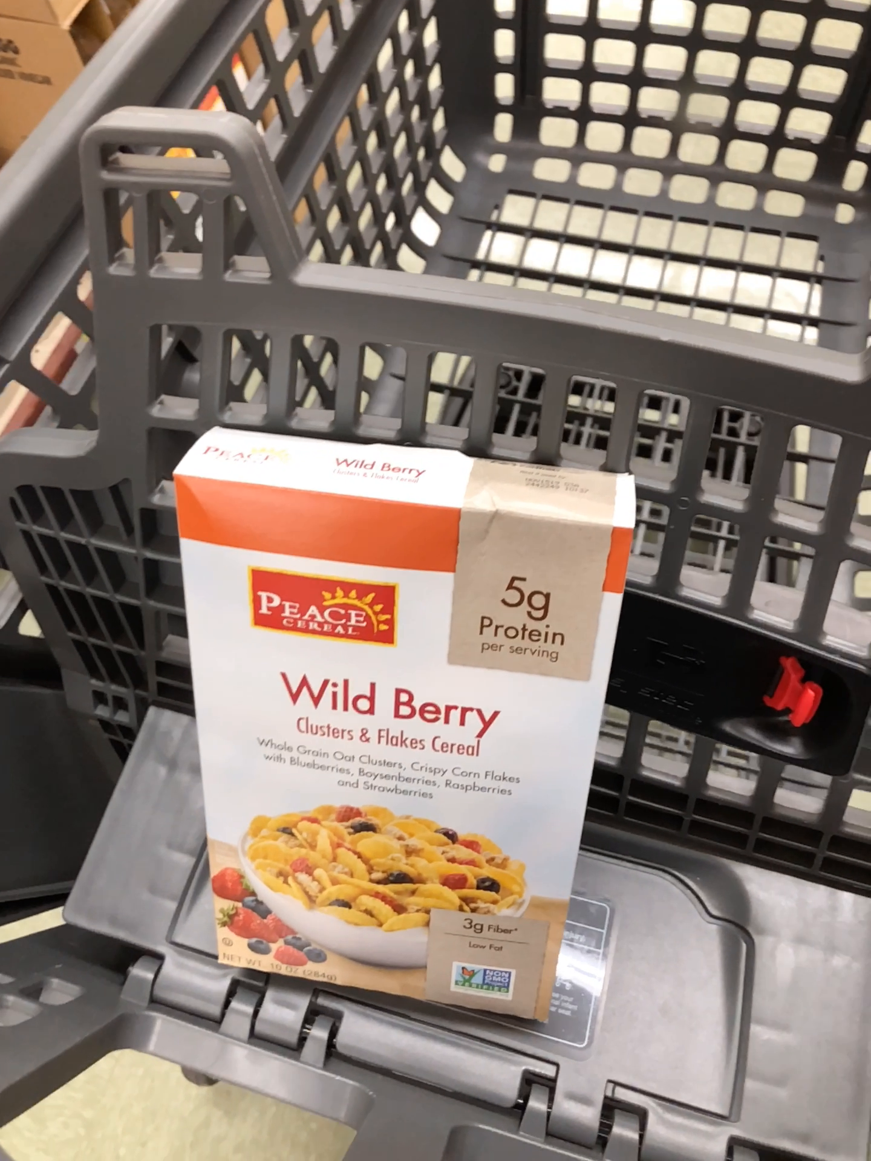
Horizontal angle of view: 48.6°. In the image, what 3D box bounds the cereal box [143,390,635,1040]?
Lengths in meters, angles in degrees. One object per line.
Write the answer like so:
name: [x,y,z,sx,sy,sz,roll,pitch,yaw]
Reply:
cereal box: [-0.018,0.064,0.396,0.160,0.260,0.060,7,29,8]
